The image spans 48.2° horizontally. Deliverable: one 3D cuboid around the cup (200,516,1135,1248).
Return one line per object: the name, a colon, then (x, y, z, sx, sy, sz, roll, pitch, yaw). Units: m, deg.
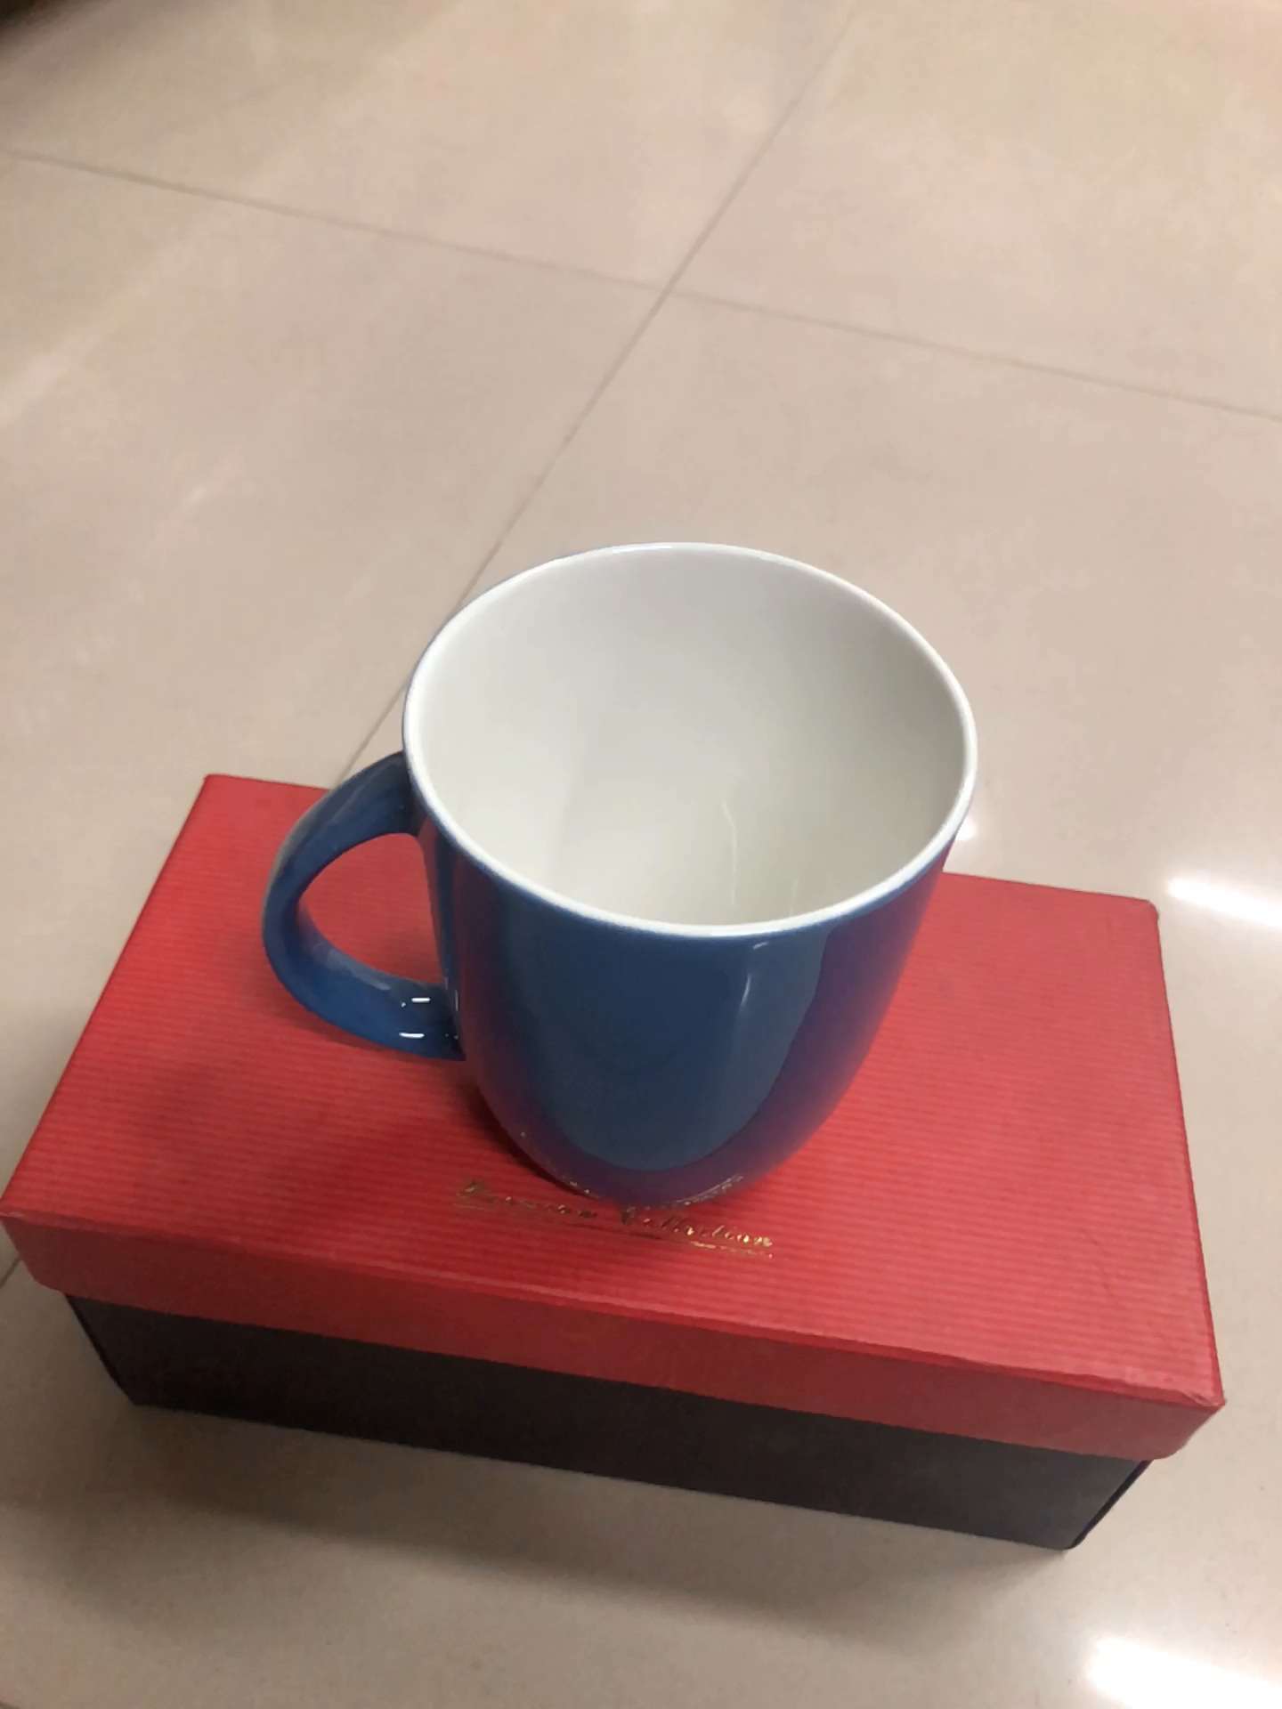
cup: (0.001, 0.005, 0.225, 0.110, 0.080, 0.080, 0, 48, -4)
